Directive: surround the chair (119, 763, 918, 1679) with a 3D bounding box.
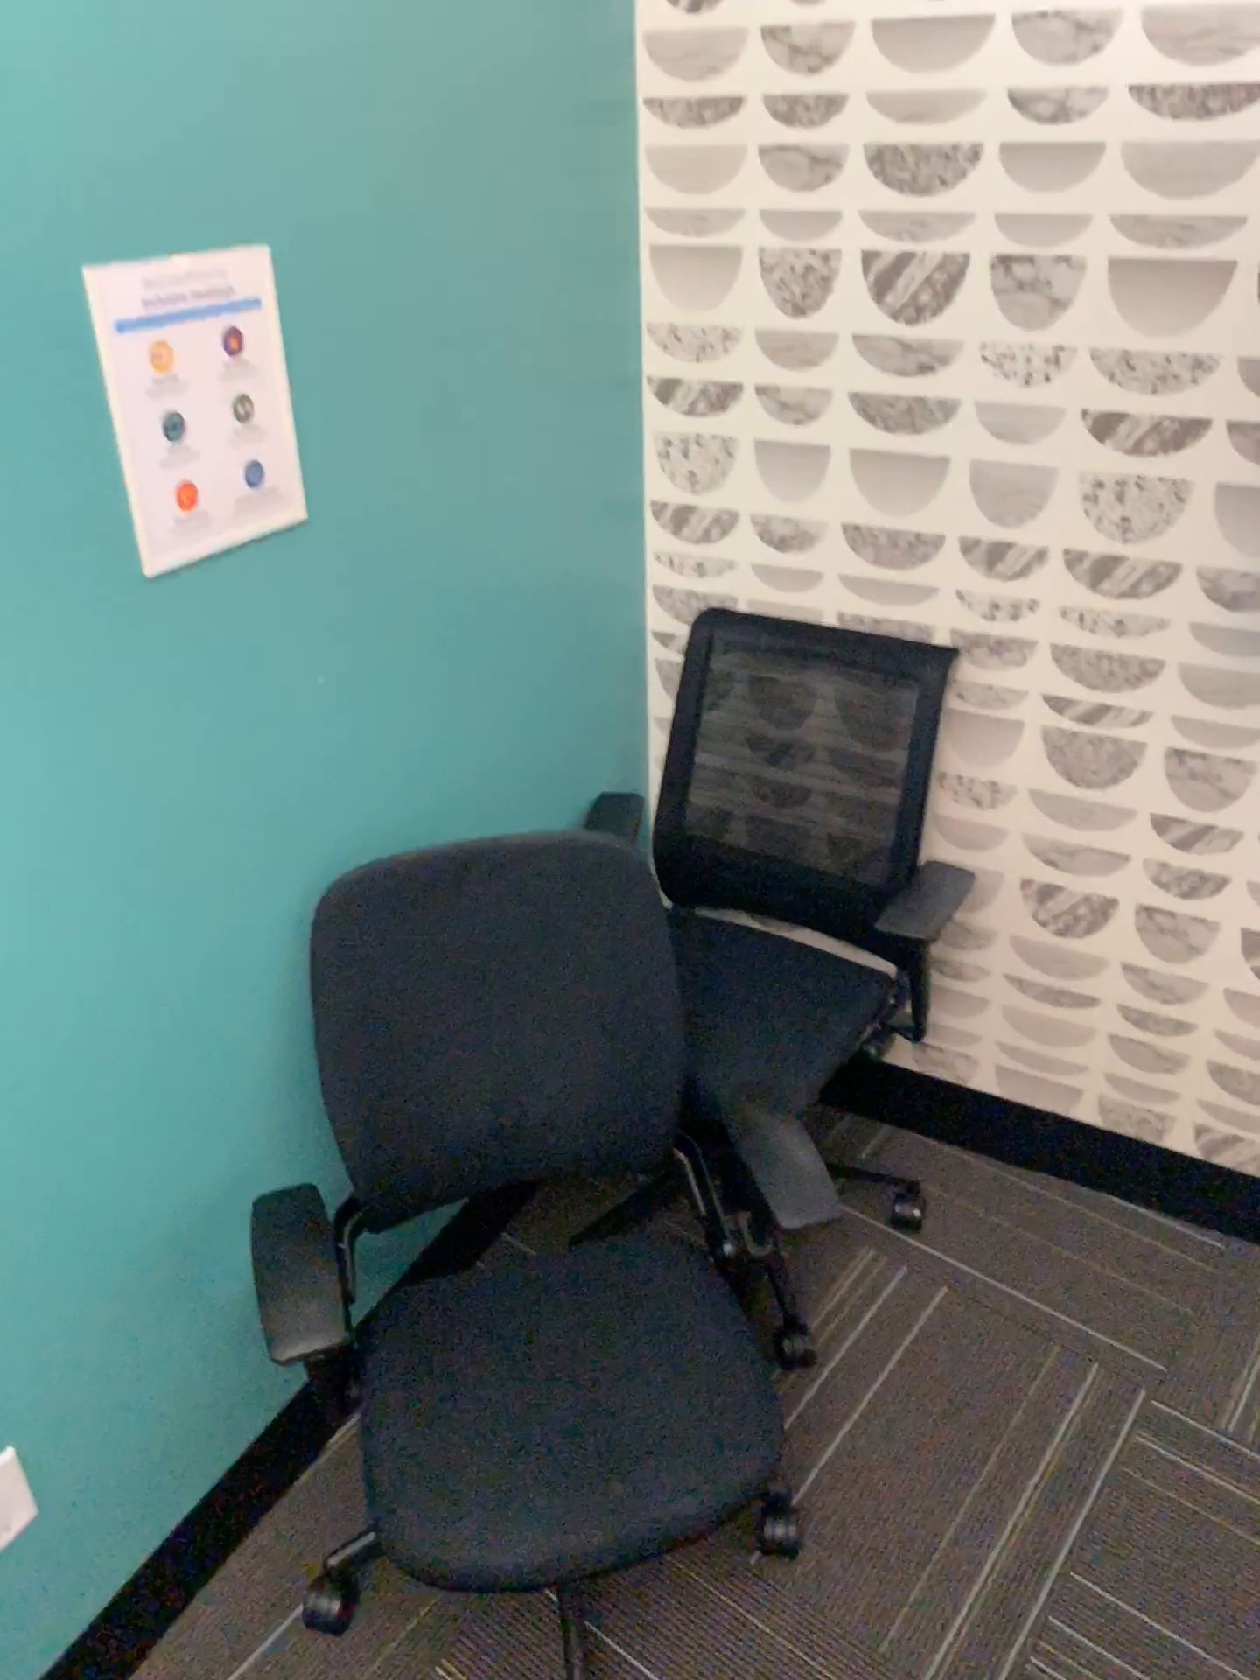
[{"bbox_3d":[-0.154,0.536,1.610,0.660,0.944,0.775,-8,30,-12],"label":"chair"}]
